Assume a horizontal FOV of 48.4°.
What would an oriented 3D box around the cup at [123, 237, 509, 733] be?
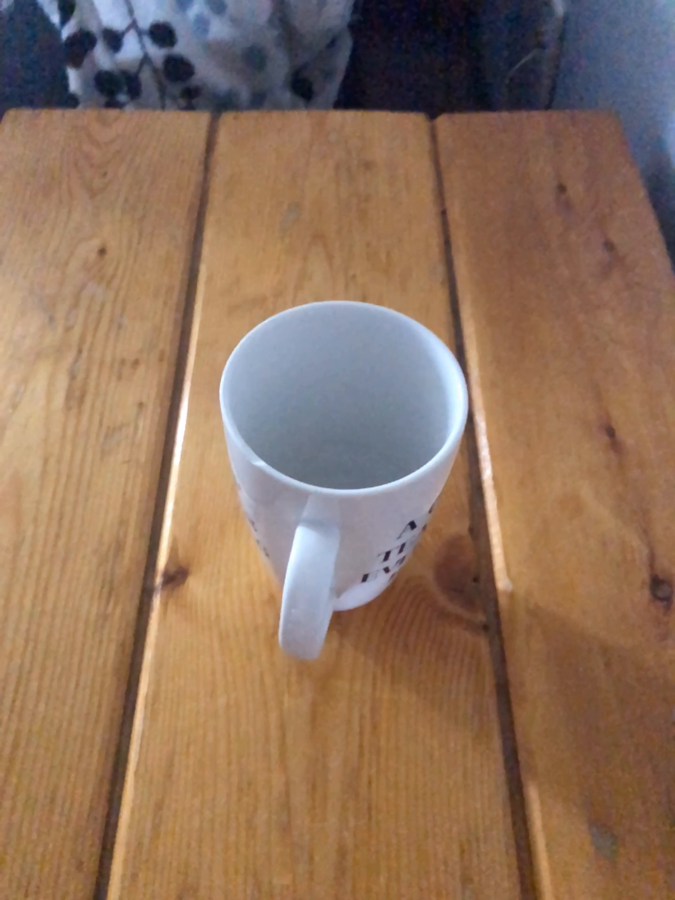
[{"bbox_3d":[0.002,0.015,0.297,0.100,0.120,0.140,9,56,7],"label":"cup"}]
